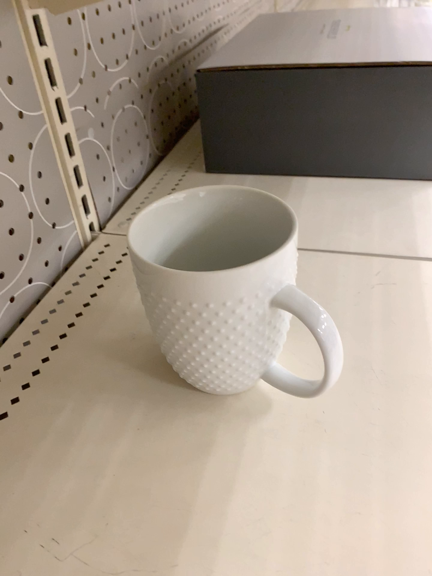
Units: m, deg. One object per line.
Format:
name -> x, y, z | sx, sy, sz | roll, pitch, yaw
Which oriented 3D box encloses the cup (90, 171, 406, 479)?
cup -> 0.017, 0.012, 0.269 | 0.138, 0.105, 0.094 | 24, 46, 31
